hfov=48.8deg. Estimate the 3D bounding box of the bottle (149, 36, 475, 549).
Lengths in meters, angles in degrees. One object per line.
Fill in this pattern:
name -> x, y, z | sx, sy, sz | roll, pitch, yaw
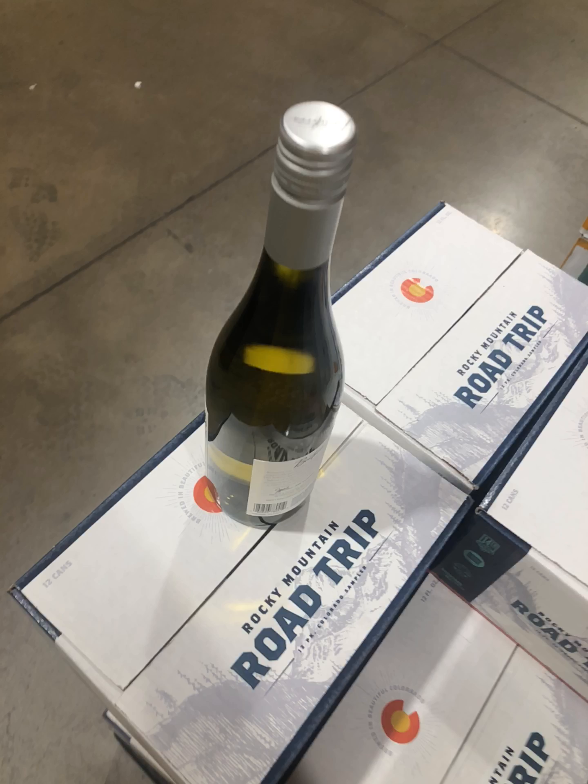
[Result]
bottle -> -0.010, -0.023, 0.358 | 0.090, 0.284, 0.083 | 4, 56, -6
